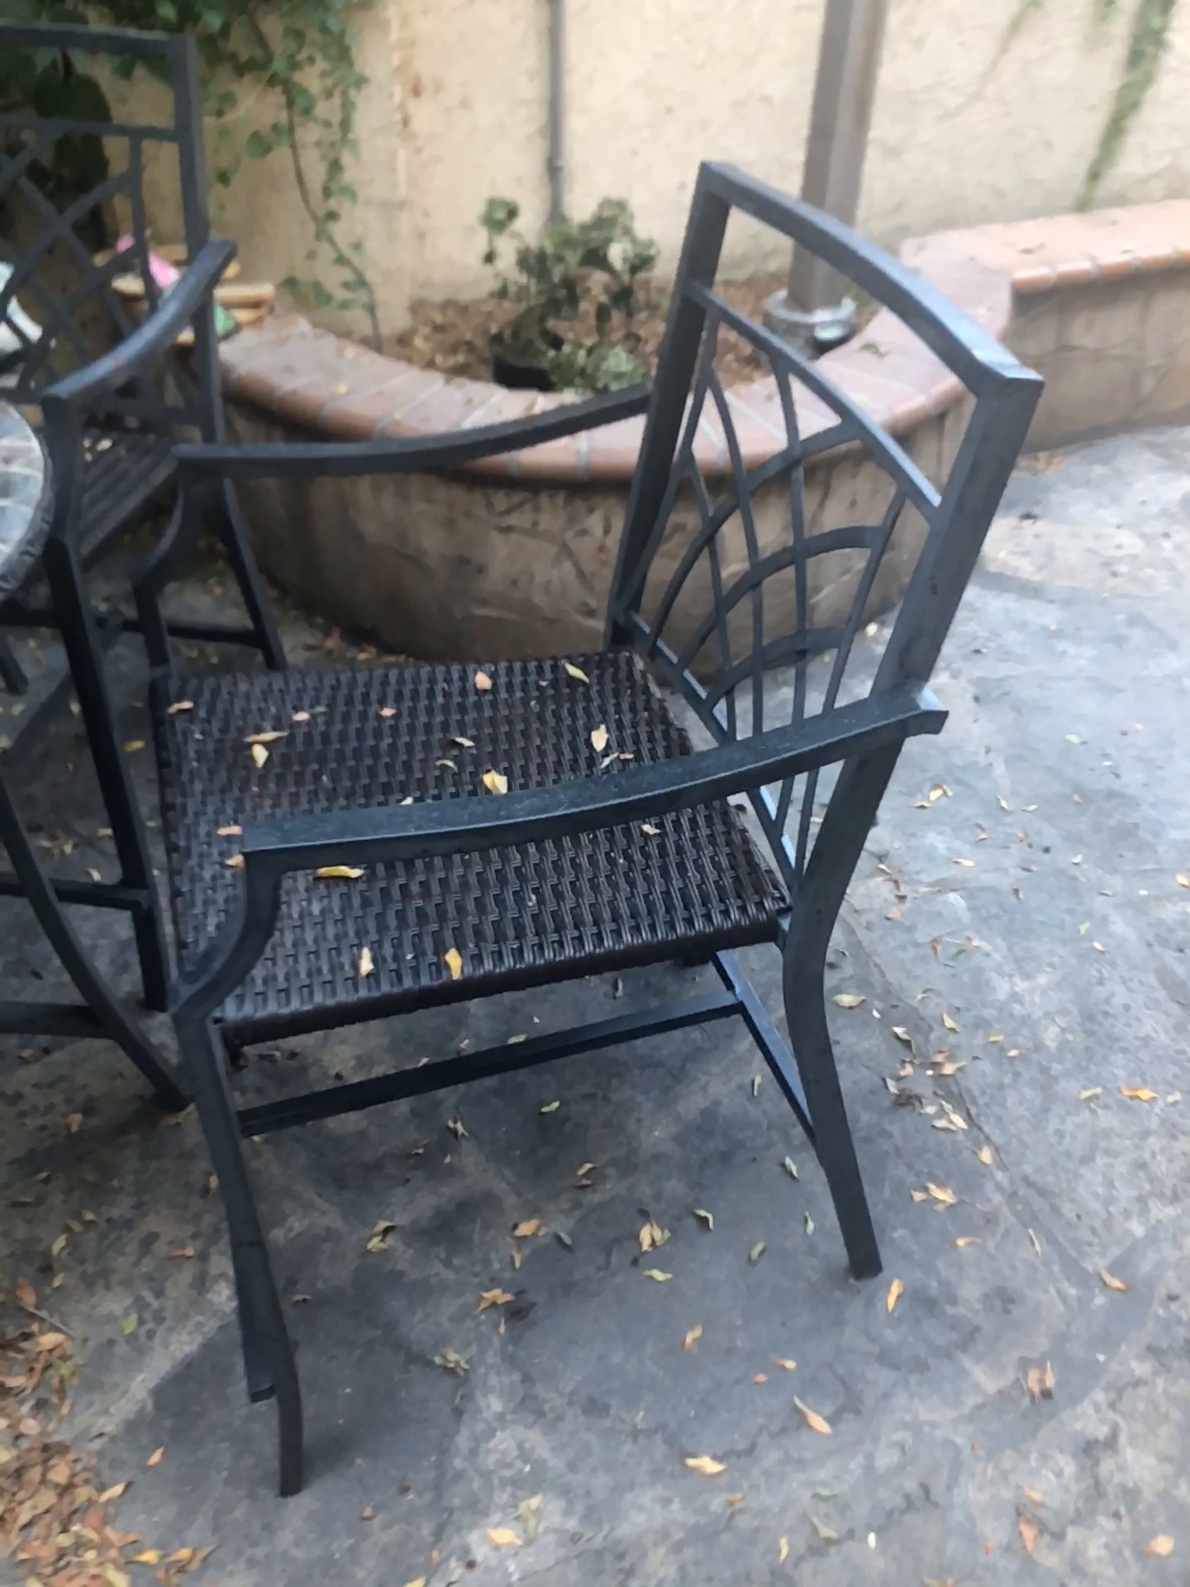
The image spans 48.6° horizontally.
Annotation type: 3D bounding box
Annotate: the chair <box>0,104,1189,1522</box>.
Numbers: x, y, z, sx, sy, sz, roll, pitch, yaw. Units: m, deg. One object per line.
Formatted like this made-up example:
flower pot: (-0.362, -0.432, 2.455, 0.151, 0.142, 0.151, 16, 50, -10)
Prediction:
chair: (-0.074, -0.009, 1.160, 0.692, 0.912, 0.685, -10, 41, -15)
